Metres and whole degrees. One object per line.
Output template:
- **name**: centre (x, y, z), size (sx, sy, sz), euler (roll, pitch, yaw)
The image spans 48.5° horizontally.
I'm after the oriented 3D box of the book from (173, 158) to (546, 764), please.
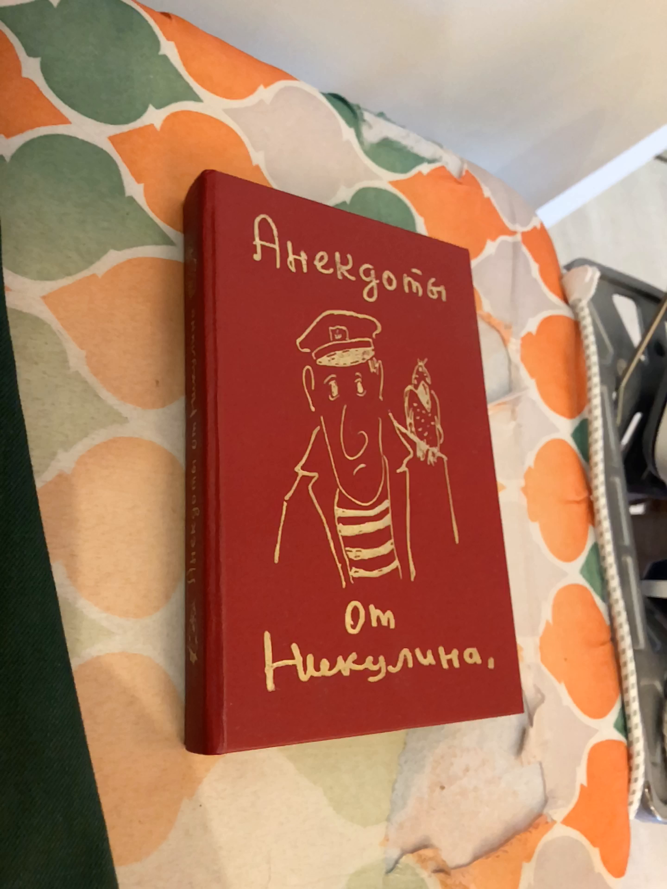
- **book**: centre (0.009, 0.004, 0.294), size (0.141, 0.030, 0.207), euler (6, 71, -32)
